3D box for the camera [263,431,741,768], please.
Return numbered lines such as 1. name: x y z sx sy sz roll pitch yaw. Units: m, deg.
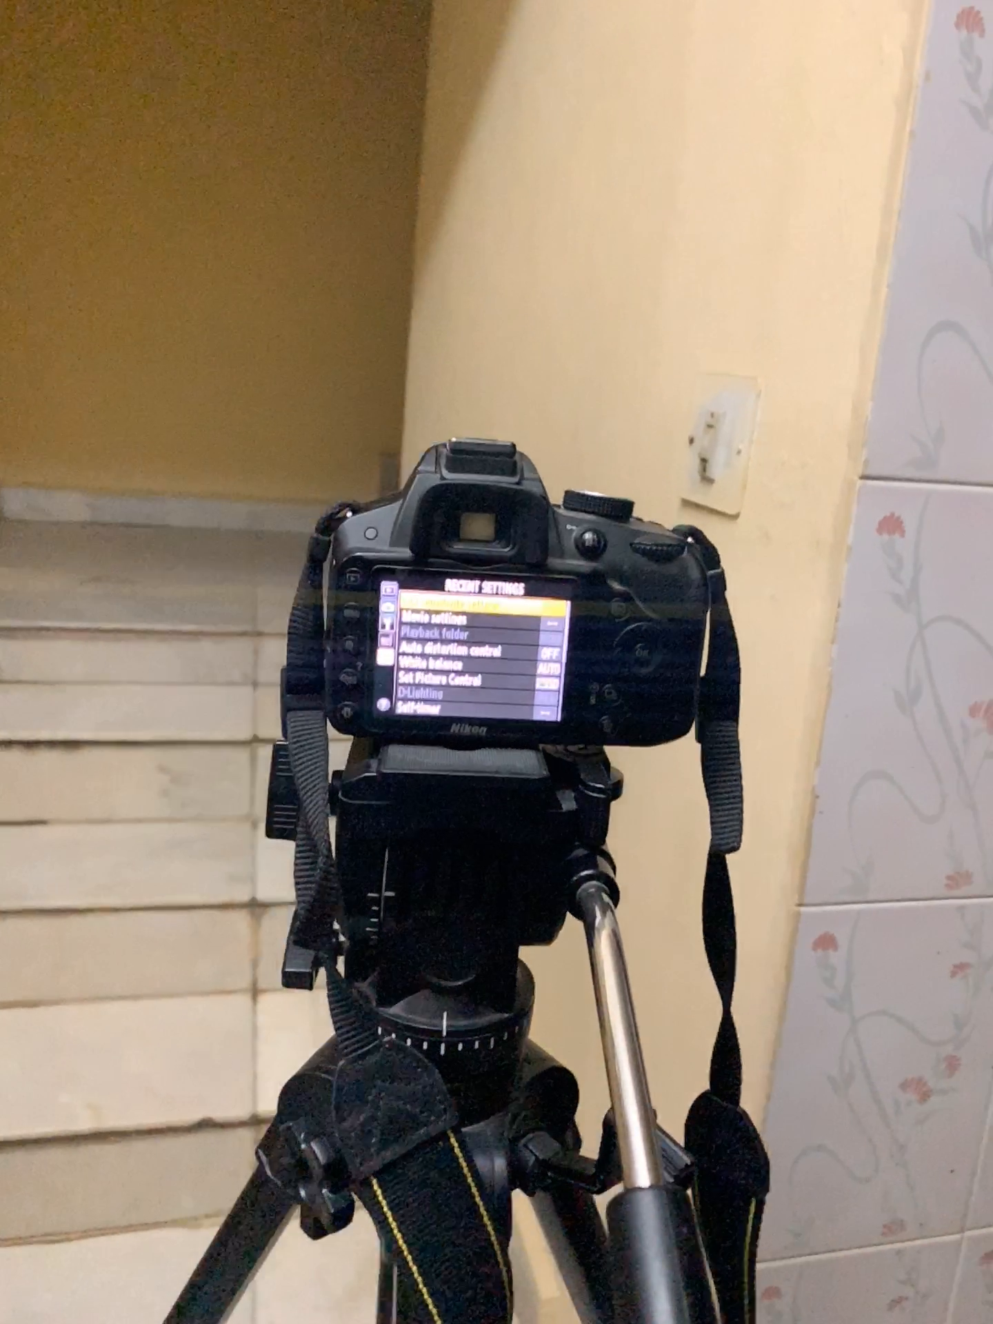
1. camera: -0.005 -0.030 0.362 0.134 0.090 0.130 3 13 -6
